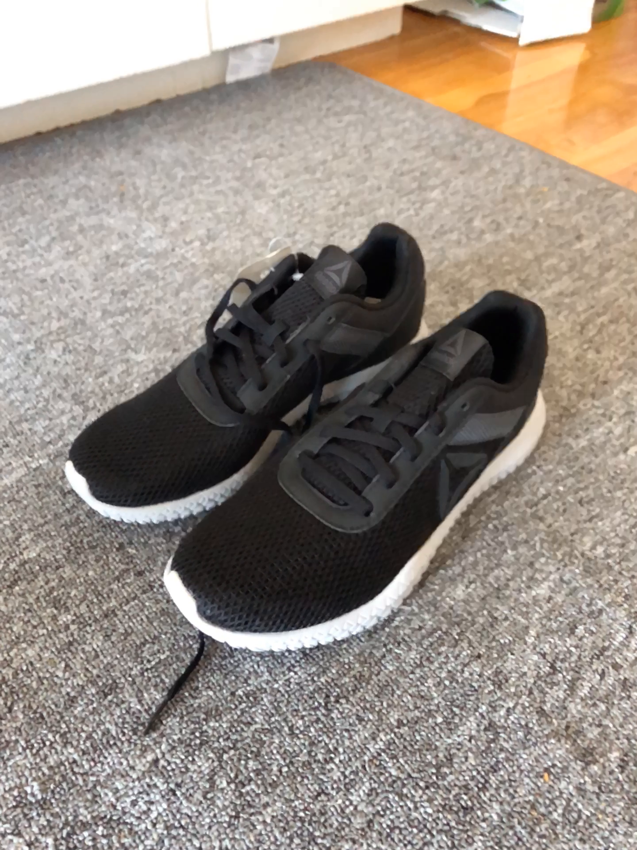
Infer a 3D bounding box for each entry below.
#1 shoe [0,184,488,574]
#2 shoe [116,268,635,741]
[{"bbox_3d":[-0.037,-0.049,0.475,0.301,0.099,0.117,-31,53,-29],"label":"shoe"},{"bbox_3d":[0.047,0.025,0.427,0.301,0.099,0.111,-33,54,-30],"label":"shoe"}]
